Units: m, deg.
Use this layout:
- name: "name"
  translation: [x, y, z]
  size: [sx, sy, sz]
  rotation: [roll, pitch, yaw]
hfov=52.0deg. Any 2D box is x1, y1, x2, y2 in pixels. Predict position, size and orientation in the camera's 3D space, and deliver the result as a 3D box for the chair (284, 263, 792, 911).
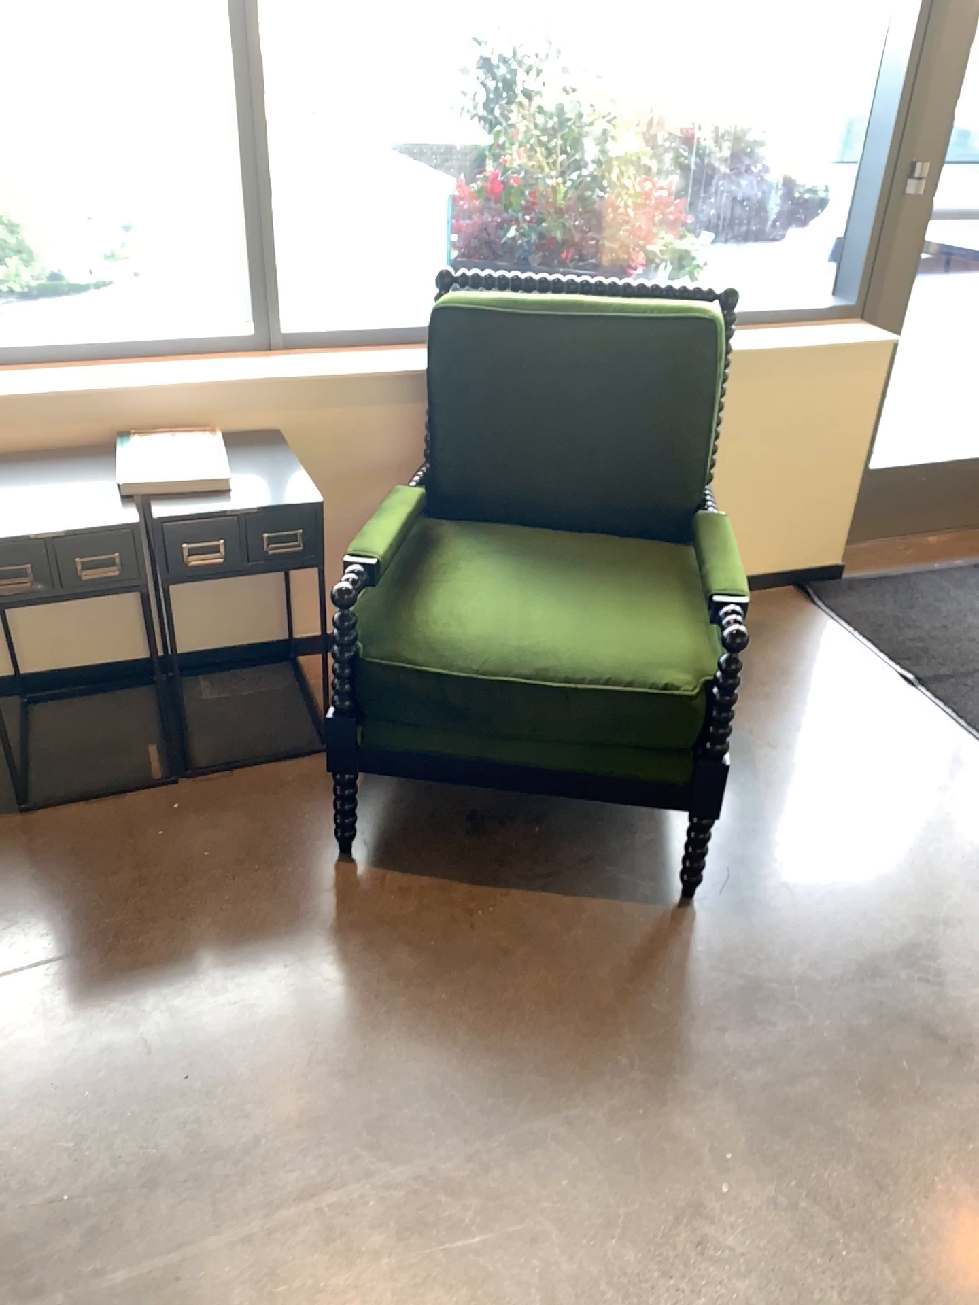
- name: "chair"
  translation: [0.114, -0.196, 2.139]
  size: [0.760, 0.984, 0.926]
  rotation: [6, 32, 6]
